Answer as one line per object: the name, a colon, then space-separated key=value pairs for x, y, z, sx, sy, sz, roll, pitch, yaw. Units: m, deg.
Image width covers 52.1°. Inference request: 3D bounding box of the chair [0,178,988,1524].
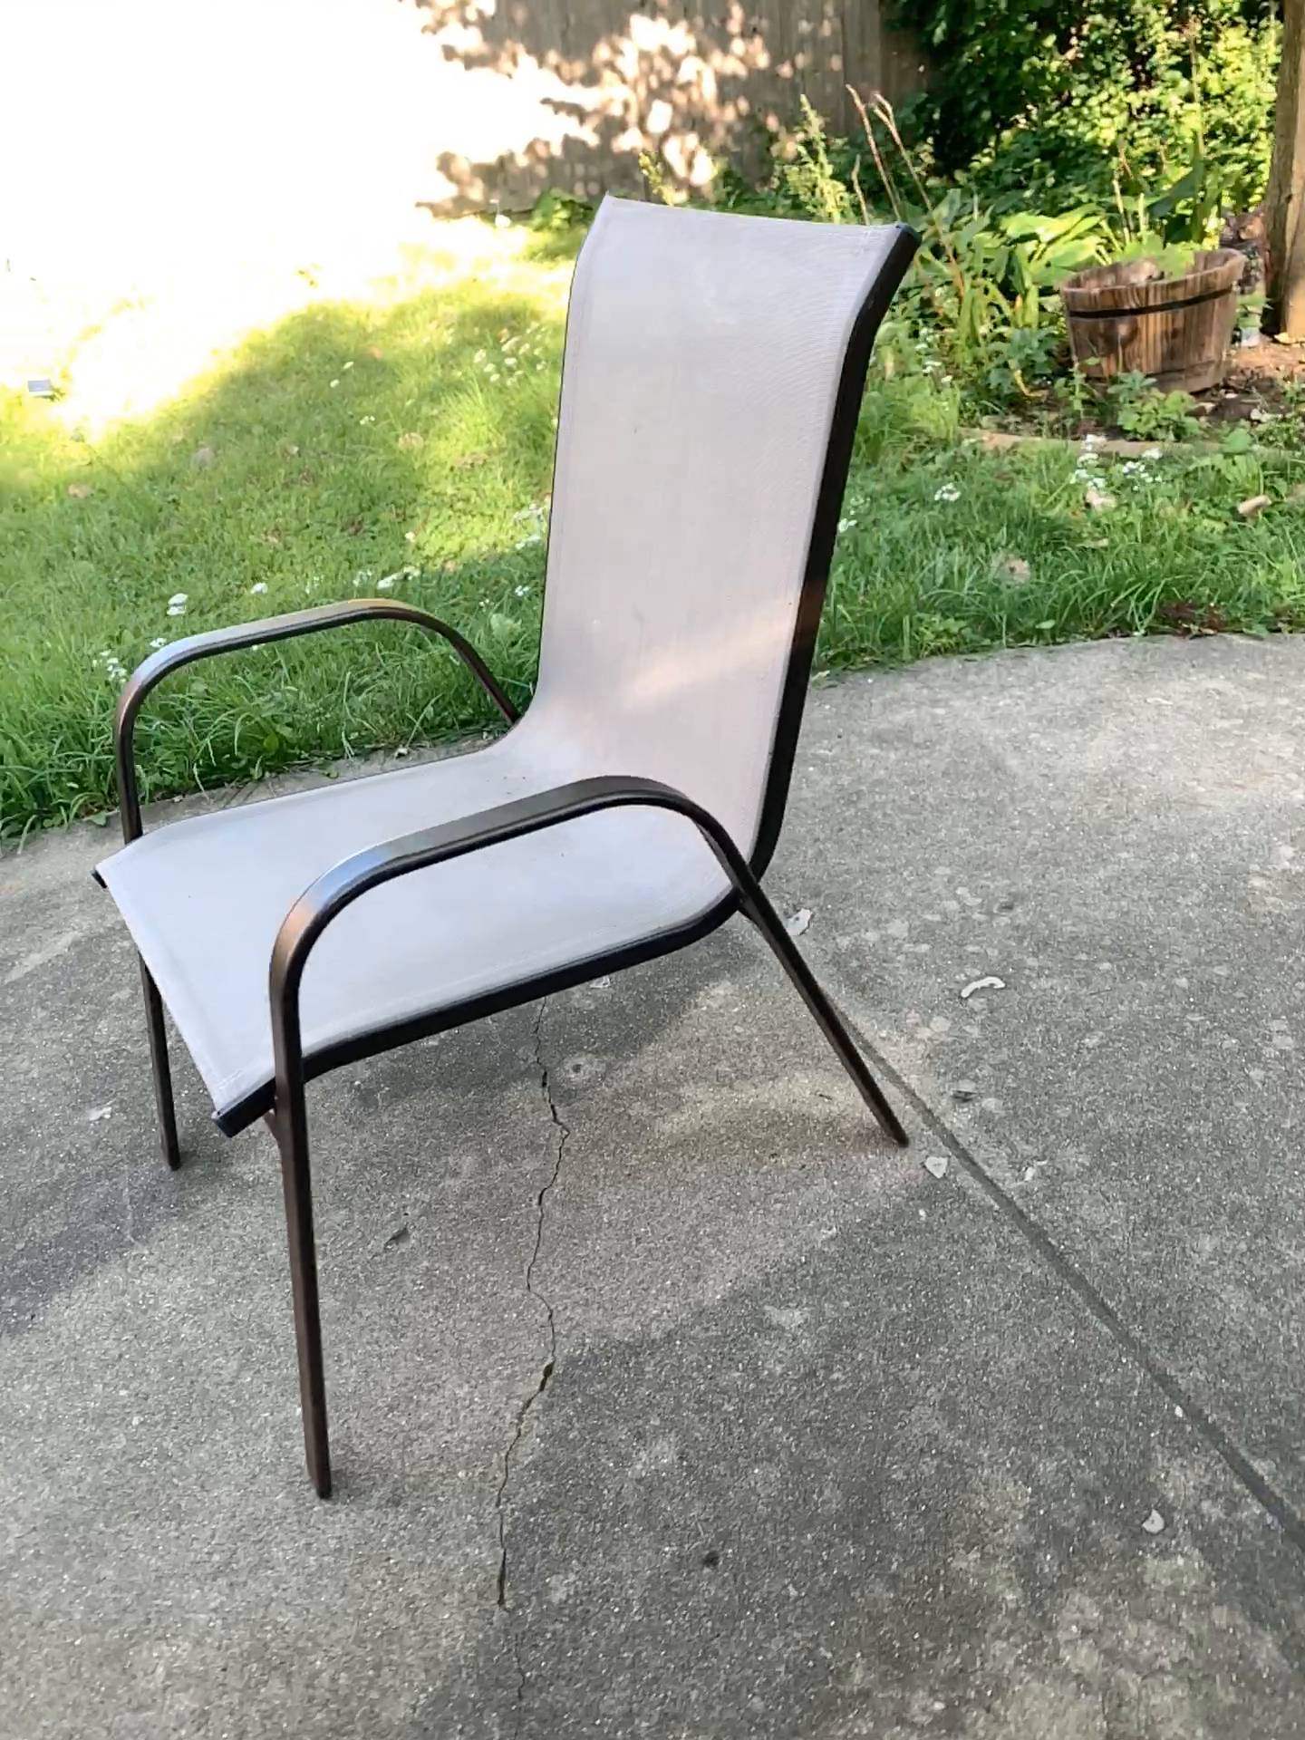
chair: x=-0.178 y=-0.070 z=1.216 sx=0.740 sy=0.845 sz=0.573 roll=-25 pitch=38 yaw=-21
